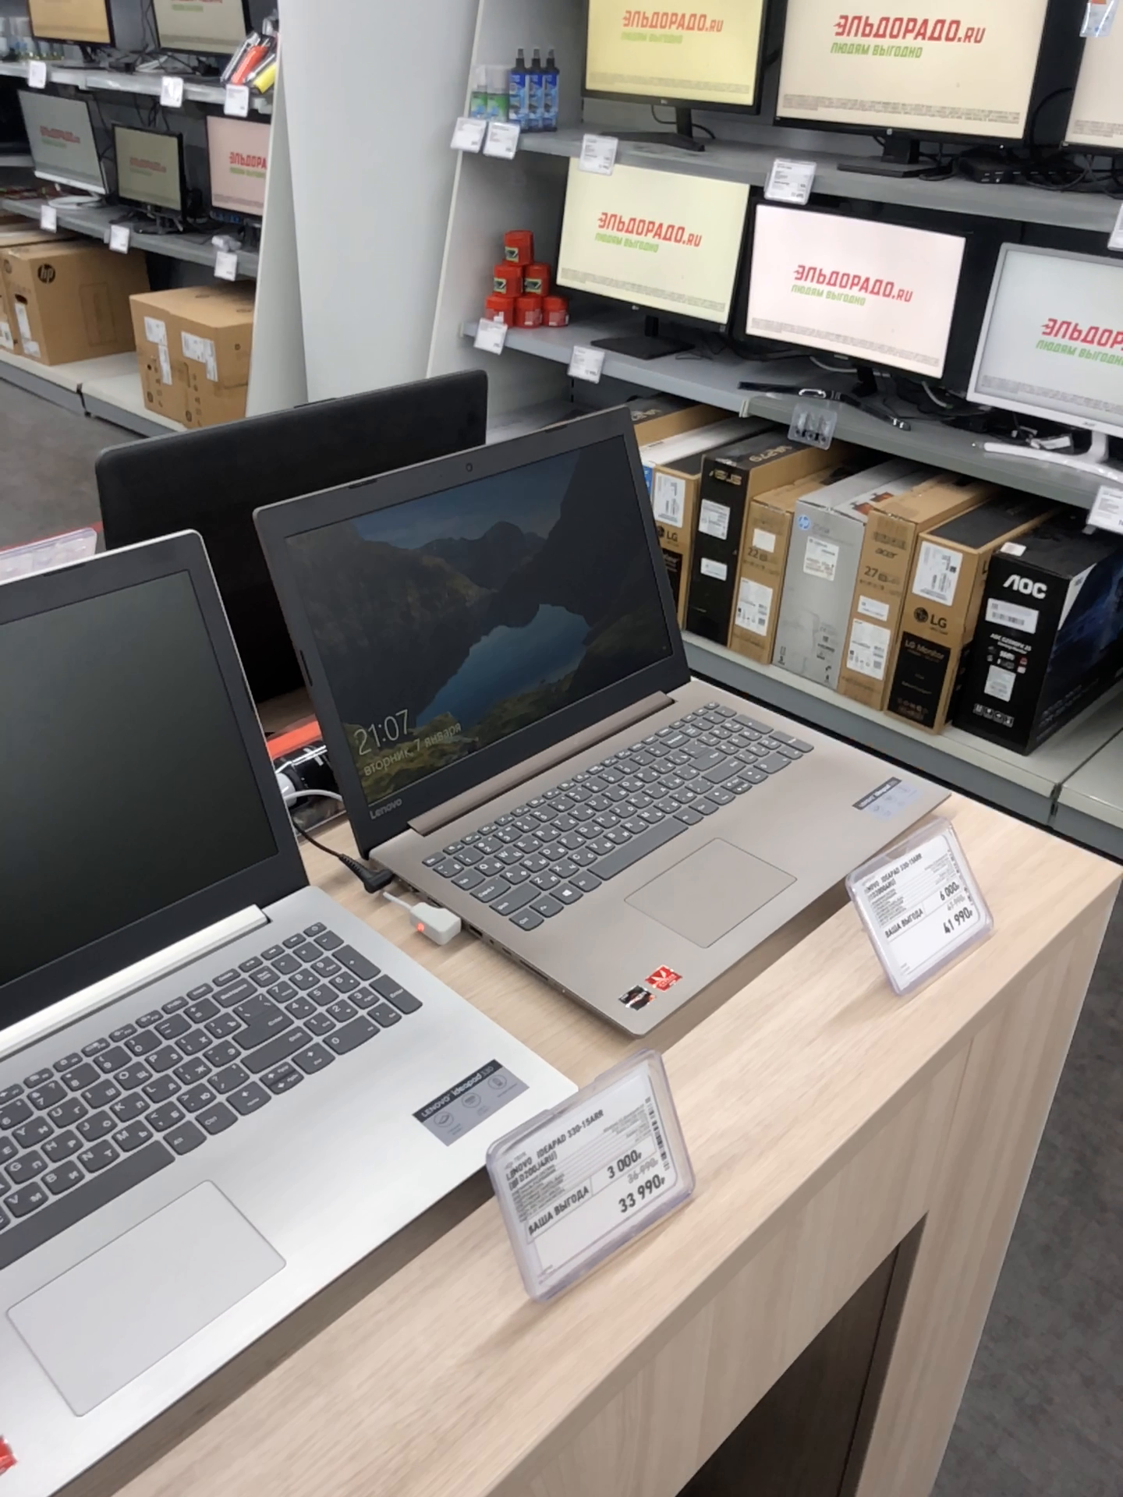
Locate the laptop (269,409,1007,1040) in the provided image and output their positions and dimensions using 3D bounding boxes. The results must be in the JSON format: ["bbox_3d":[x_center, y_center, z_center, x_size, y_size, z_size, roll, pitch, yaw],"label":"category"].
[{"bbox_3d":[0.051,-0.056,0.844,0.329,0.209,0.352,28,40,35],"label":"laptop"}]

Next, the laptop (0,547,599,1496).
[{"bbox_3d":[-0.227,0.086,0.580,0.323,0.207,0.344,27,37,34],"label":"laptop"}]
